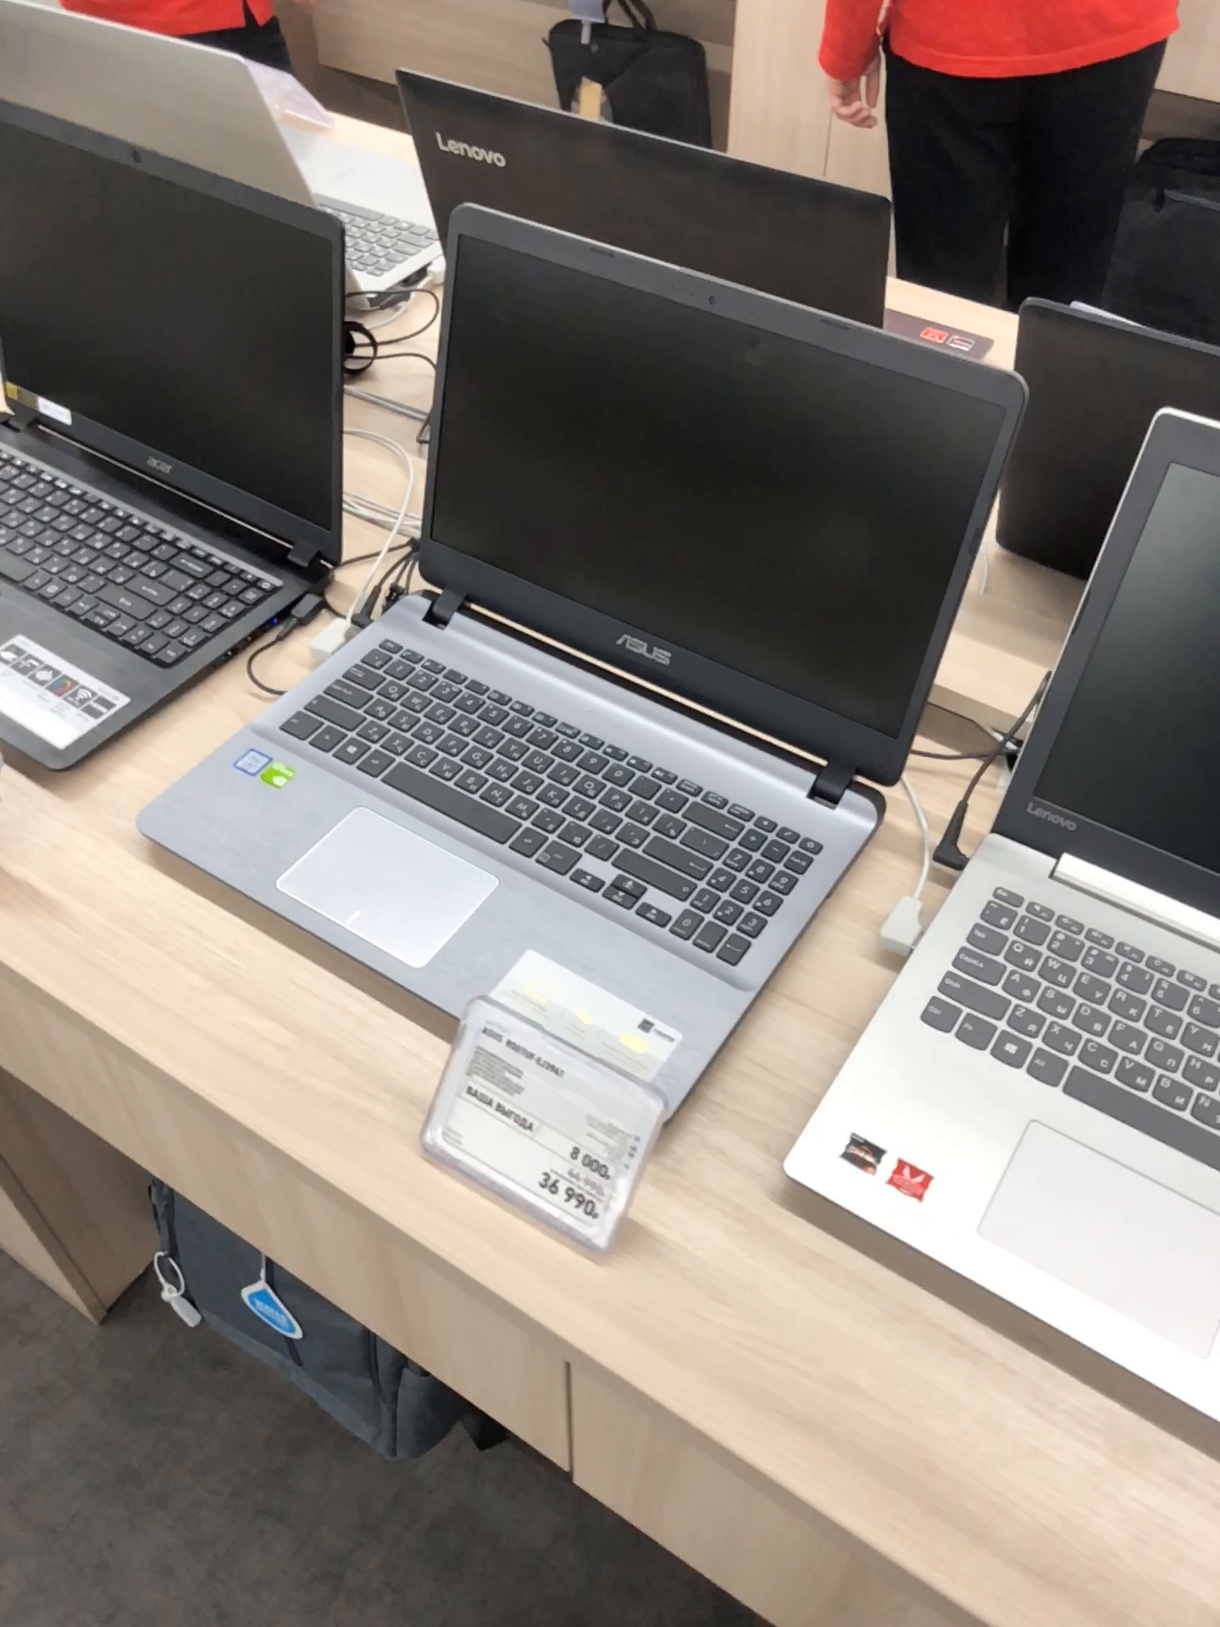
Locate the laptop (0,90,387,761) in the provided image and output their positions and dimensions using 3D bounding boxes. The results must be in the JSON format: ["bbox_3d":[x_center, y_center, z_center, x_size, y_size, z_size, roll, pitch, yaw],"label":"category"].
[{"bbox_3d":[-0.384,-0.263,0.855,0.332,0.222,0.292,28,53,22],"label":"laptop"}]

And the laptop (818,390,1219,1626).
[{"bbox_3d":[0.327,0.064,0.558,0.370,0.220,0.333,25,53,20],"label":"laptop"}]

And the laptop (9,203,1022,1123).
[{"bbox_3d":[-0.034,-0.104,0.704,0.345,0.226,0.330,26,53,21],"label":"laptop"}]
